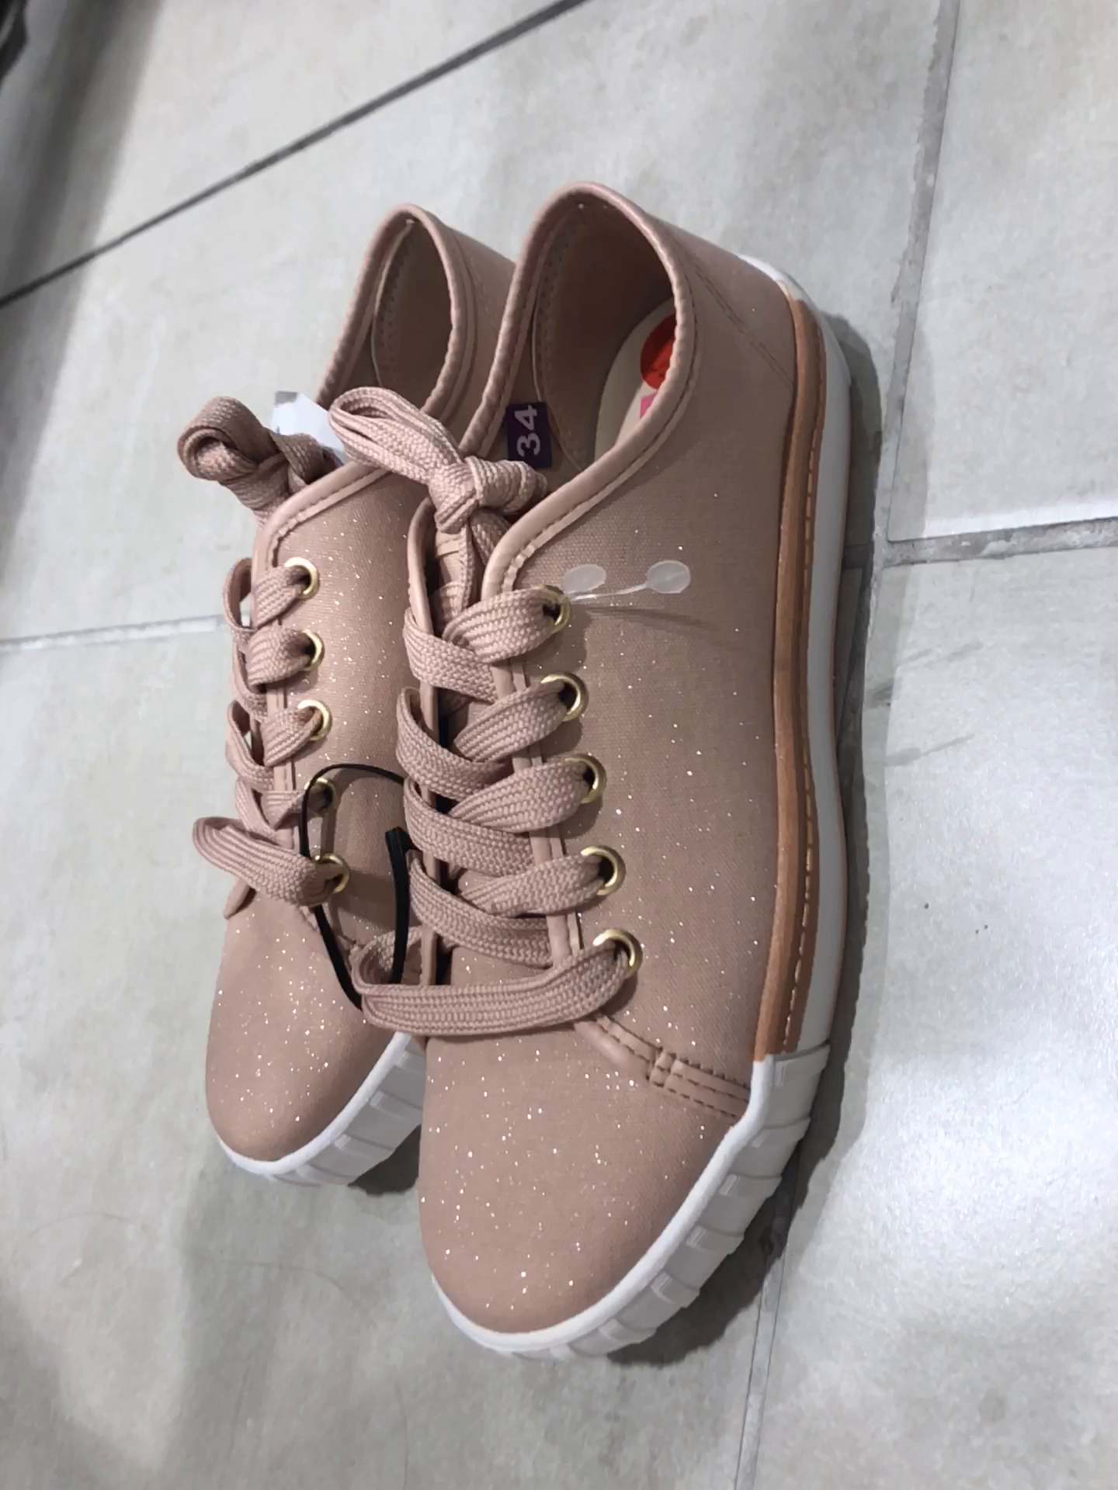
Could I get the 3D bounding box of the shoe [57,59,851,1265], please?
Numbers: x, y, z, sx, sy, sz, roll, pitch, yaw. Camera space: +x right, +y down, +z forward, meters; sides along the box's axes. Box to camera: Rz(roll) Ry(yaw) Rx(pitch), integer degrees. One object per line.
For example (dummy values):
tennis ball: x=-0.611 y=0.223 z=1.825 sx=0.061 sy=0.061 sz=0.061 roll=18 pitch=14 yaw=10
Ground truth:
shoe: x=-0.020 y=-0.015 z=0.303 sx=0.090 sy=0.099 sz=0.240 roll=9 pitch=81 yaw=44

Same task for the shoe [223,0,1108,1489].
shoe: x=0.030 y=-0.001 z=0.236 sx=0.090 sy=0.099 sz=0.240 roll=0 pitch=75 yaw=42
